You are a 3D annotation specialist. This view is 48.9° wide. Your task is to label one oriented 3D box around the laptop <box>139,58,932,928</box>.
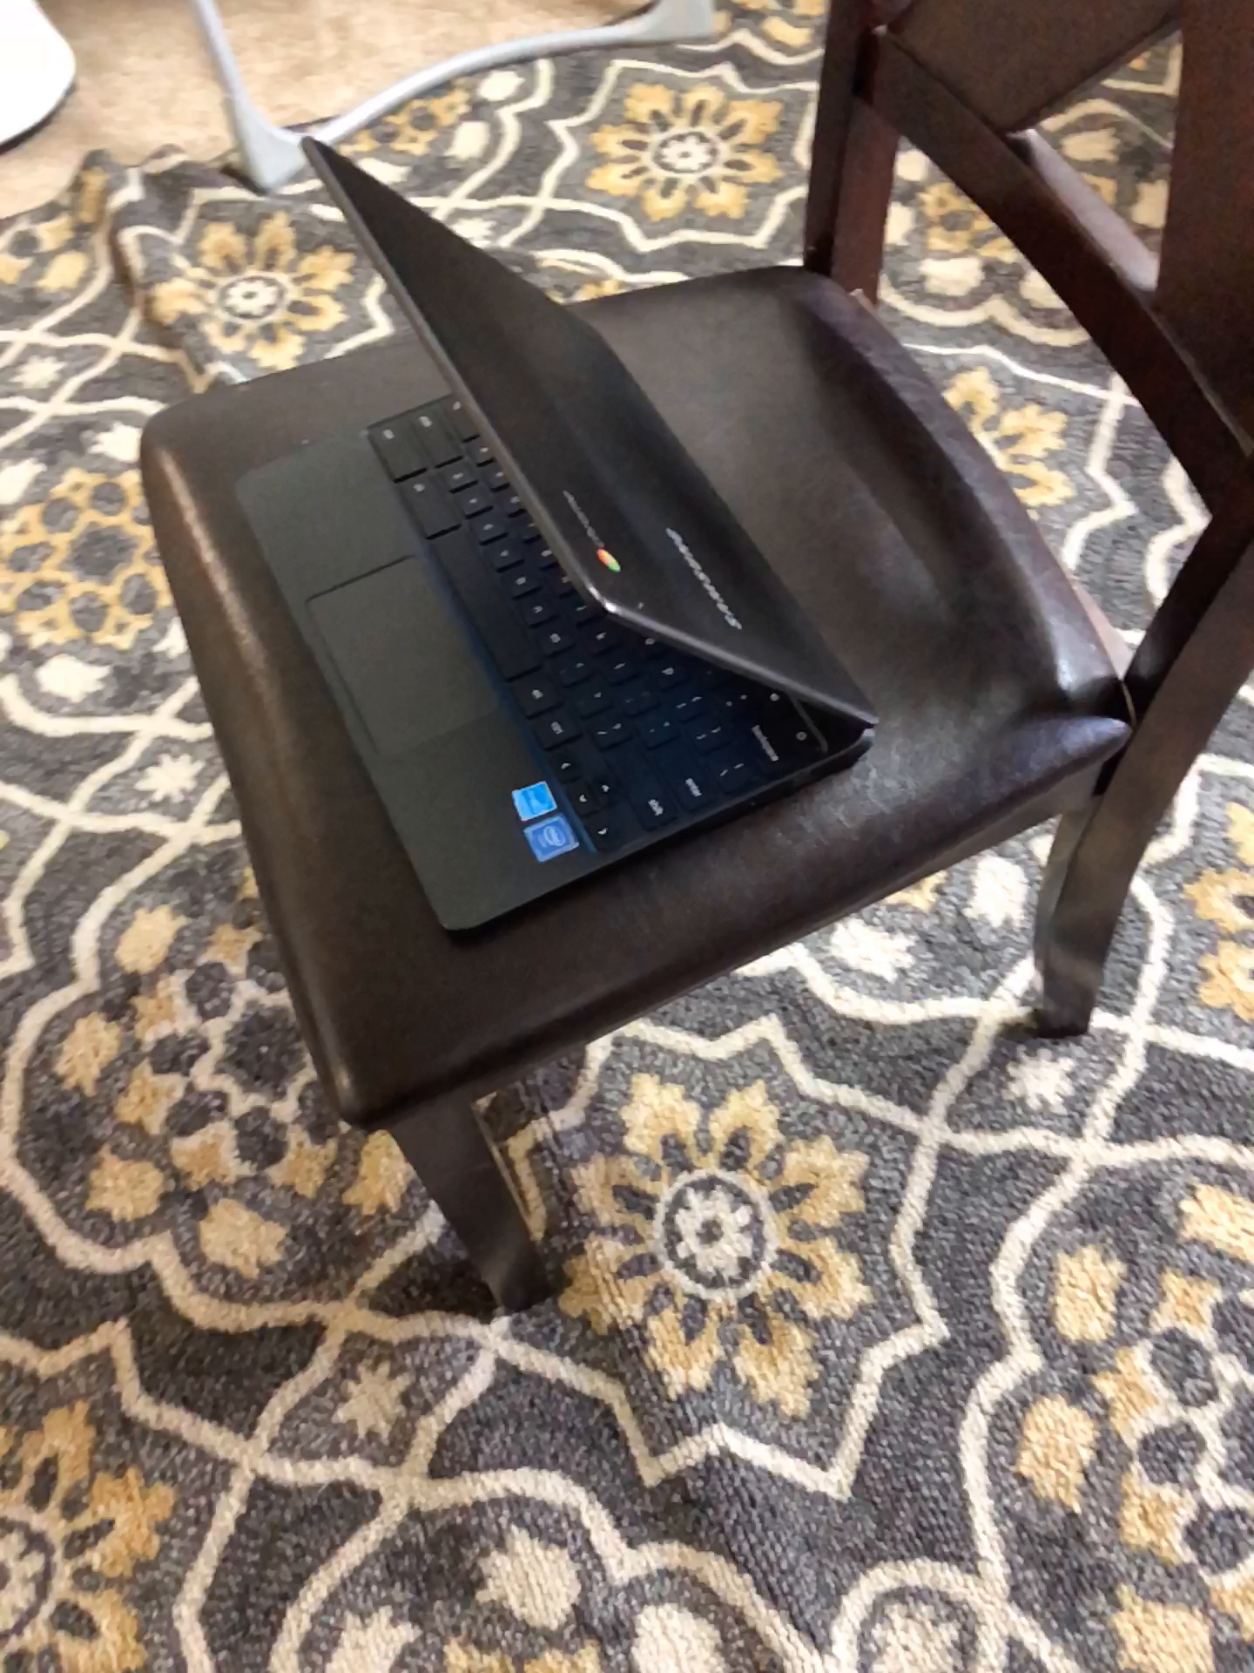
[{"bbox_3d":[-0.041,-0.141,0.560,0.191,0.155,0.263,-25,62,-9],"label":"laptop"}]
